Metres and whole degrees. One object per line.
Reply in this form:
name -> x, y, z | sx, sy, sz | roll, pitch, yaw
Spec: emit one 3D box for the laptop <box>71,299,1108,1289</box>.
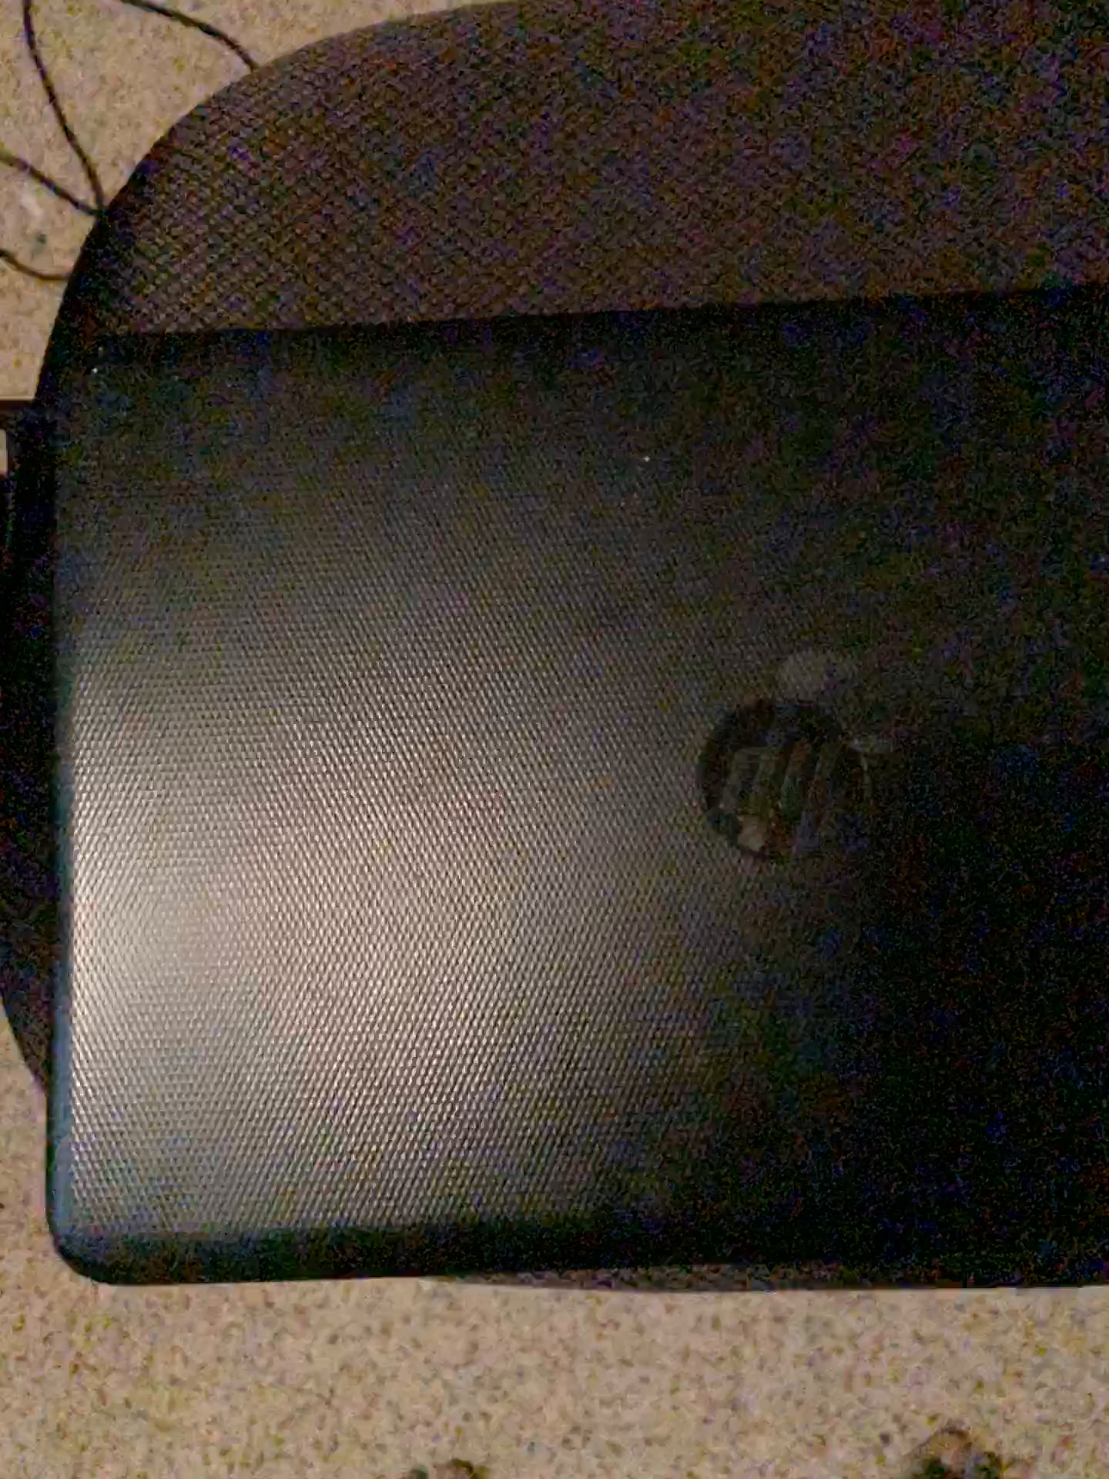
laptop -> 0.066, 0.006, 0.310 | 0.378, 0.018, 0.244 | -2, 85, -3
